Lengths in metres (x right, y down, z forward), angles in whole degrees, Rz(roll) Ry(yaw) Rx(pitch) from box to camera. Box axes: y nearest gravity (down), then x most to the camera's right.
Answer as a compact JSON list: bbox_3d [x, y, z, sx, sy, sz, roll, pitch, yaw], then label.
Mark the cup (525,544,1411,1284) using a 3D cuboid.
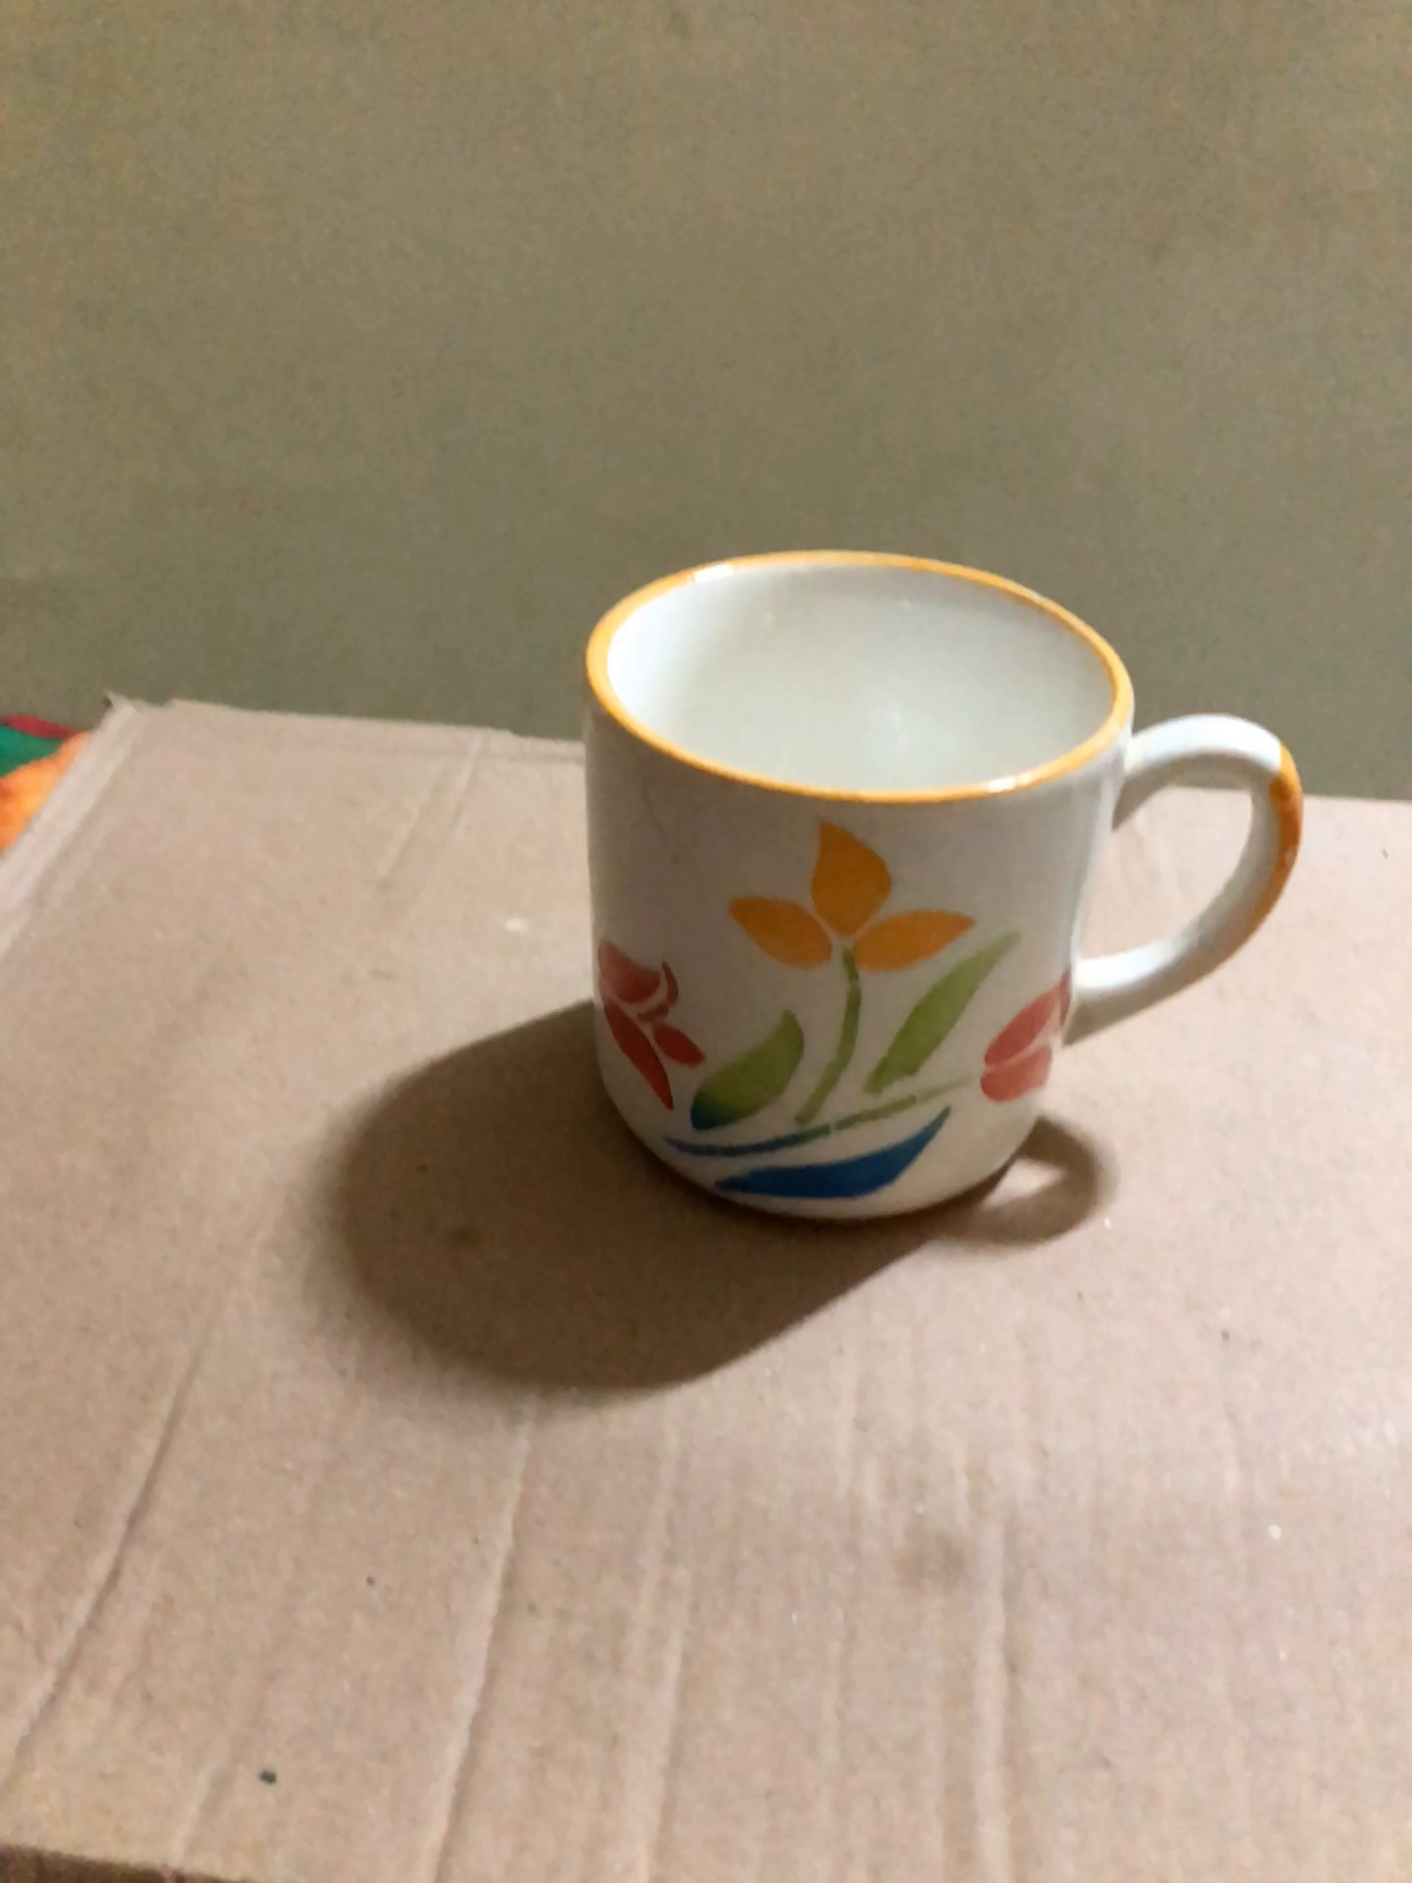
[{"bbox_3d":[0.038,-0.008,0.248,0.120,0.079,0.091,-1,33,-1],"label":"cup"}]
